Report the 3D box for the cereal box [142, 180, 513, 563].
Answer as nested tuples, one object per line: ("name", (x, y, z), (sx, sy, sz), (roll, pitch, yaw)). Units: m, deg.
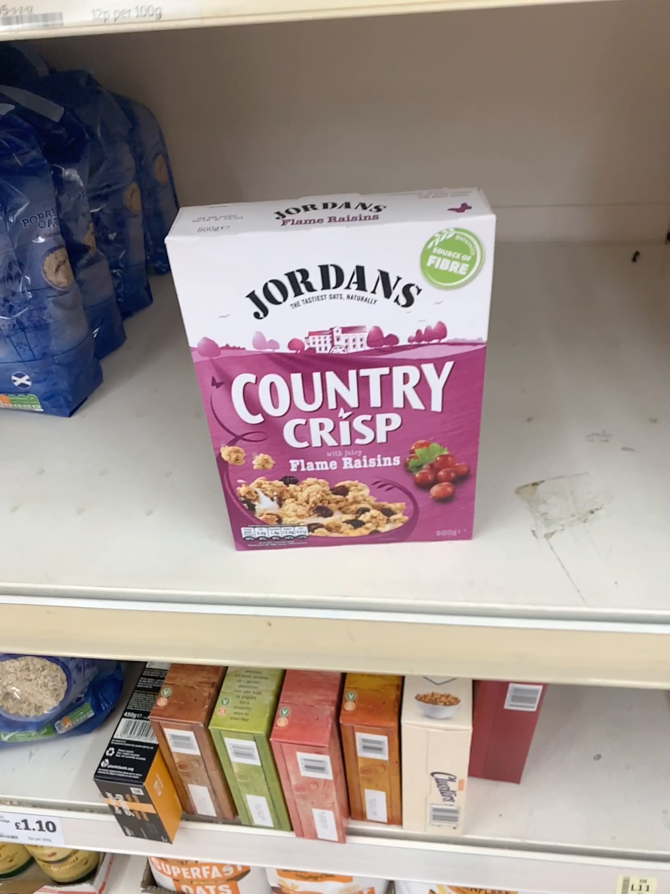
("cereal box", (0.003, -0.034, 0.468), (0.200, 0.257, 0.050), (-3, 37, 2))
